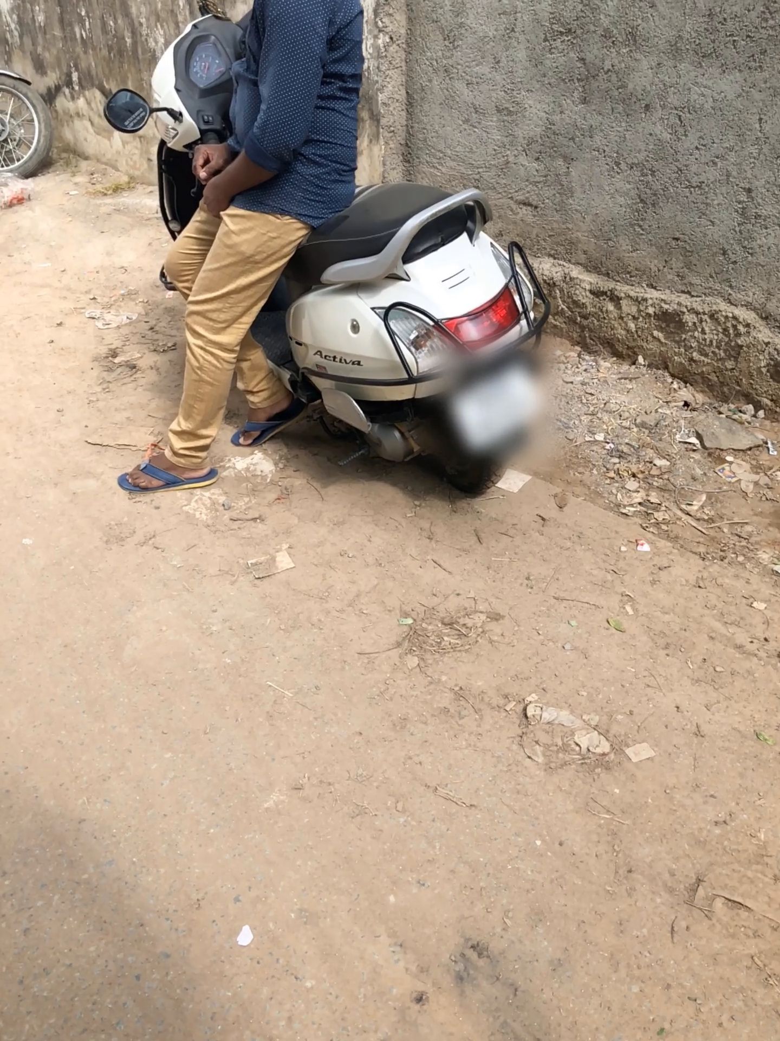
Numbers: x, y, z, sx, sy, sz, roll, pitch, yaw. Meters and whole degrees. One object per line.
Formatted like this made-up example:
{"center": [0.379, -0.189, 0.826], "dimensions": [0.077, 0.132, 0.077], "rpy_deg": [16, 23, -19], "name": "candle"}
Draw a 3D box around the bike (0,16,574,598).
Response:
{"center": [-0.408, -0.733, 2.456], "dimensions": [0.671, 1.139, 1.626], "rpy_deg": [-25, 41, -31], "name": "bike"}
